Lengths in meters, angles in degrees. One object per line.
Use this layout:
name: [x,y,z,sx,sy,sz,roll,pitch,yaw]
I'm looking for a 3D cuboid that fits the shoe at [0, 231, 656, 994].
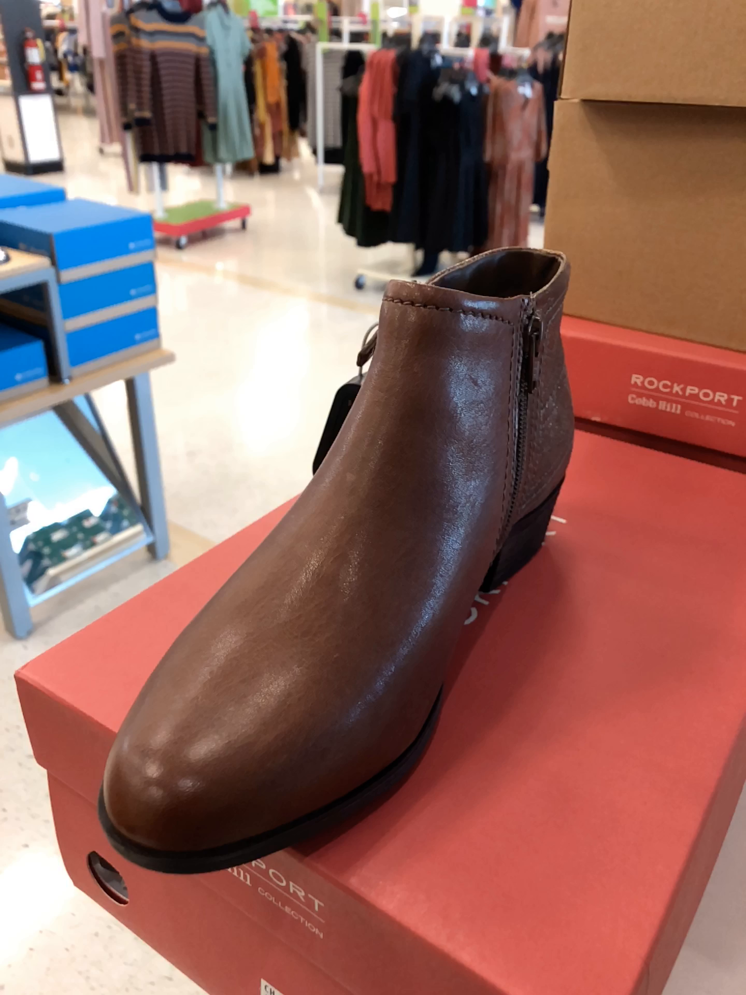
shoe: [0.003,-0.003,0.296,0.101,0.119,0.282,17,33,26]
